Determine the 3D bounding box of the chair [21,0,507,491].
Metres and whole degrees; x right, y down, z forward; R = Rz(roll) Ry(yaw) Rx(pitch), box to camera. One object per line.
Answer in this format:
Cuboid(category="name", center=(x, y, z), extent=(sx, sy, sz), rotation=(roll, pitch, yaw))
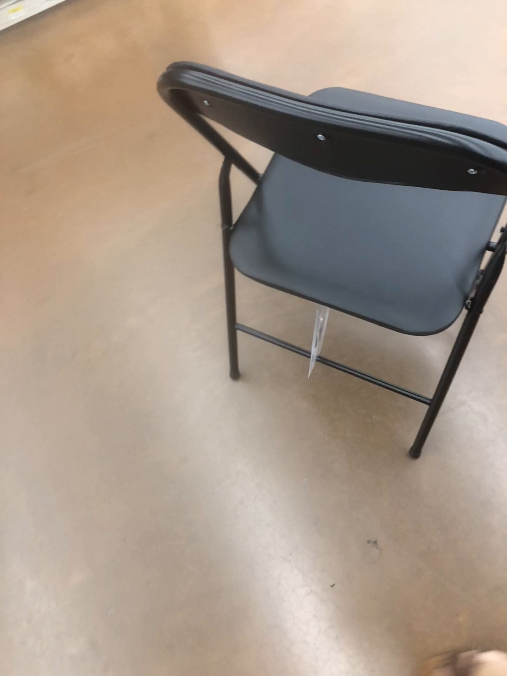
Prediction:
Cuboid(category="chair", center=(0.177, -0.173, 0.862), extent=(0.521, 0.759, 0.490), rotation=(21, 70, 18))
